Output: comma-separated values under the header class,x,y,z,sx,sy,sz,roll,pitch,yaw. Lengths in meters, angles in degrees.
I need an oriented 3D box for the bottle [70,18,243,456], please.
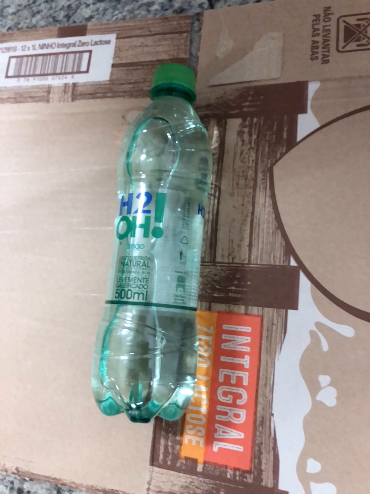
class,x,y,z,sx,sy,sz,roll,pitch,yaw
bottle,-0.010,-0.015,0.263,0.070,0.050,0.250,3,78,15
